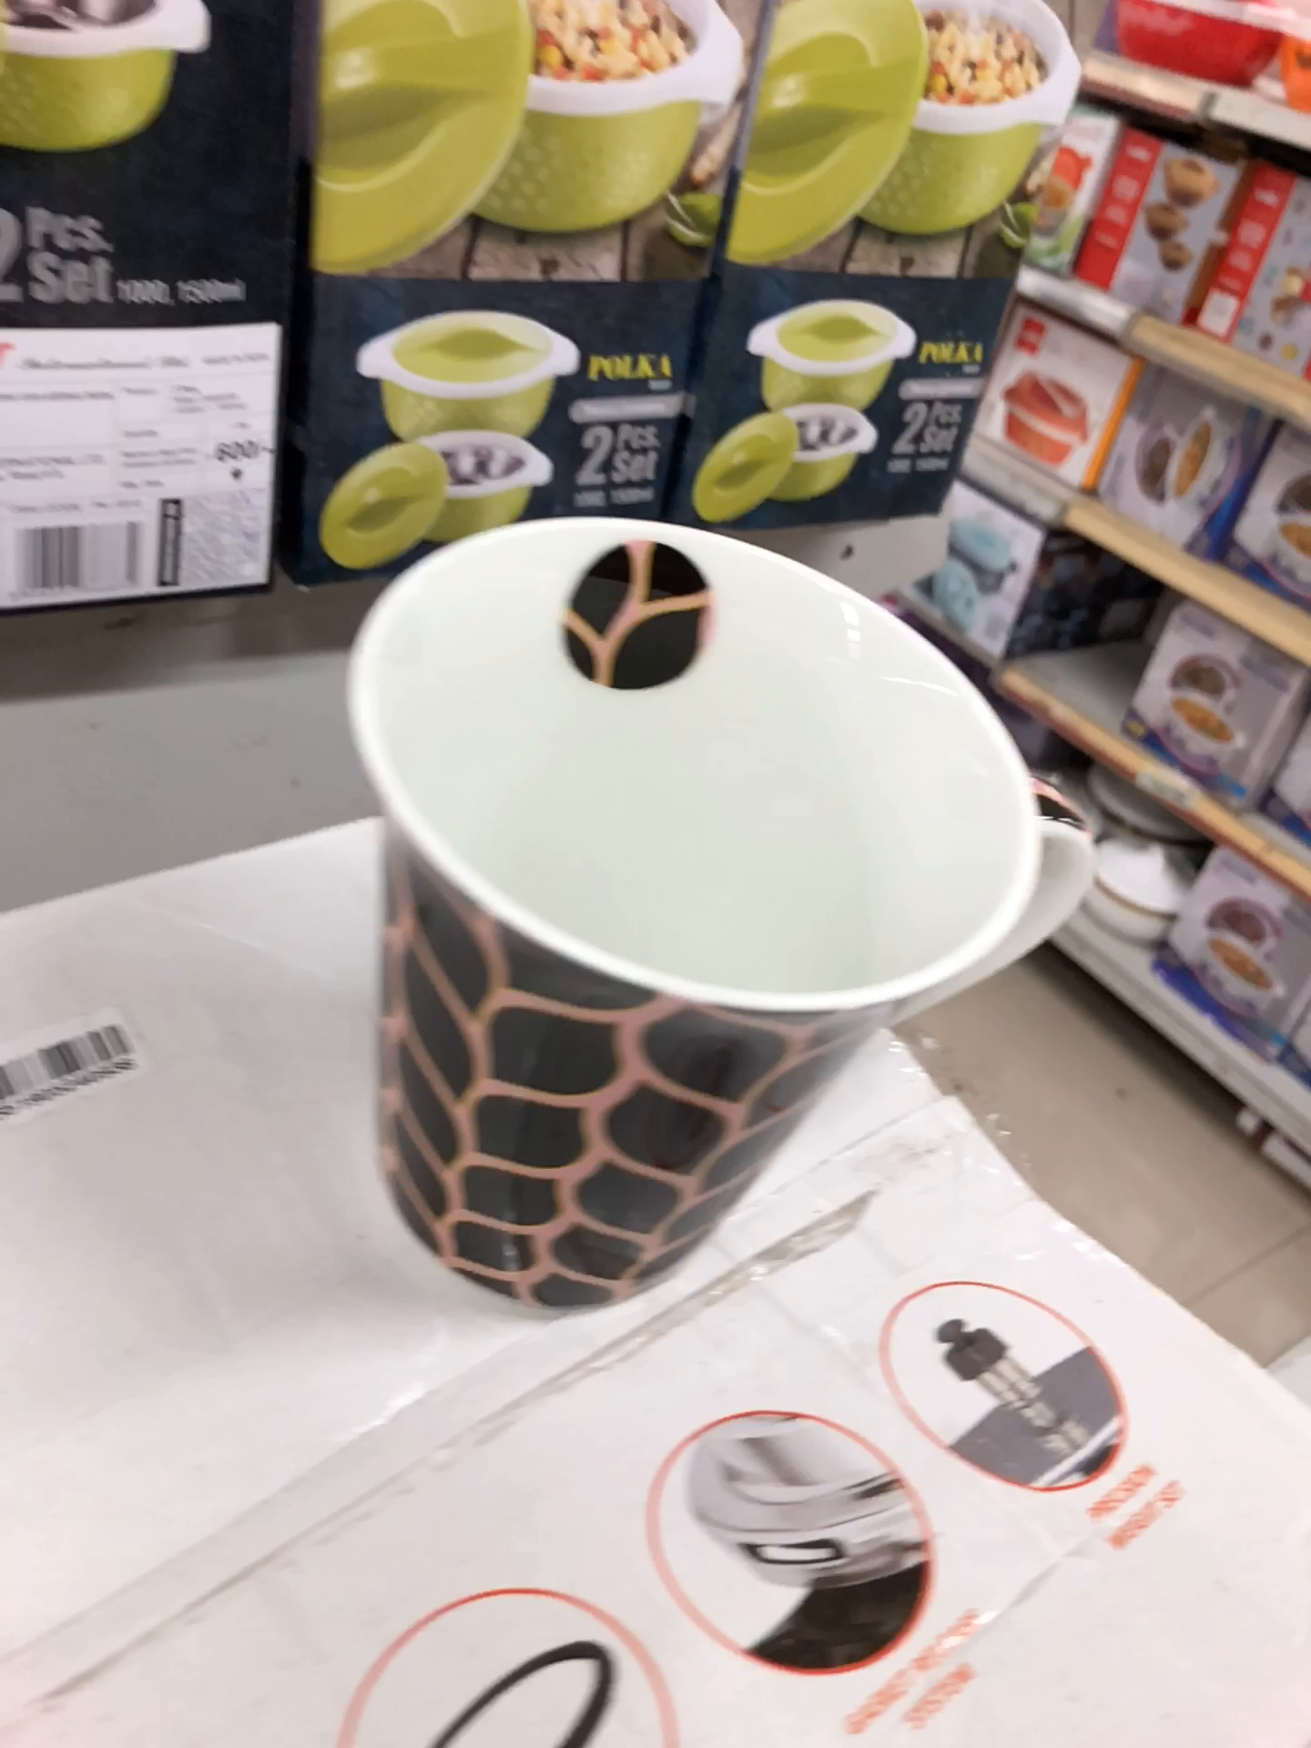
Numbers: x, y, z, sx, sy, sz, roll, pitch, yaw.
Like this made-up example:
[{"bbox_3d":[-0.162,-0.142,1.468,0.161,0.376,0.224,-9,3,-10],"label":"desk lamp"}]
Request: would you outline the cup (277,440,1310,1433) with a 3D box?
[{"bbox_3d":[0.016,0.001,0.200,0.110,0.079,0.090,-6,46,-25],"label":"cup"}]
